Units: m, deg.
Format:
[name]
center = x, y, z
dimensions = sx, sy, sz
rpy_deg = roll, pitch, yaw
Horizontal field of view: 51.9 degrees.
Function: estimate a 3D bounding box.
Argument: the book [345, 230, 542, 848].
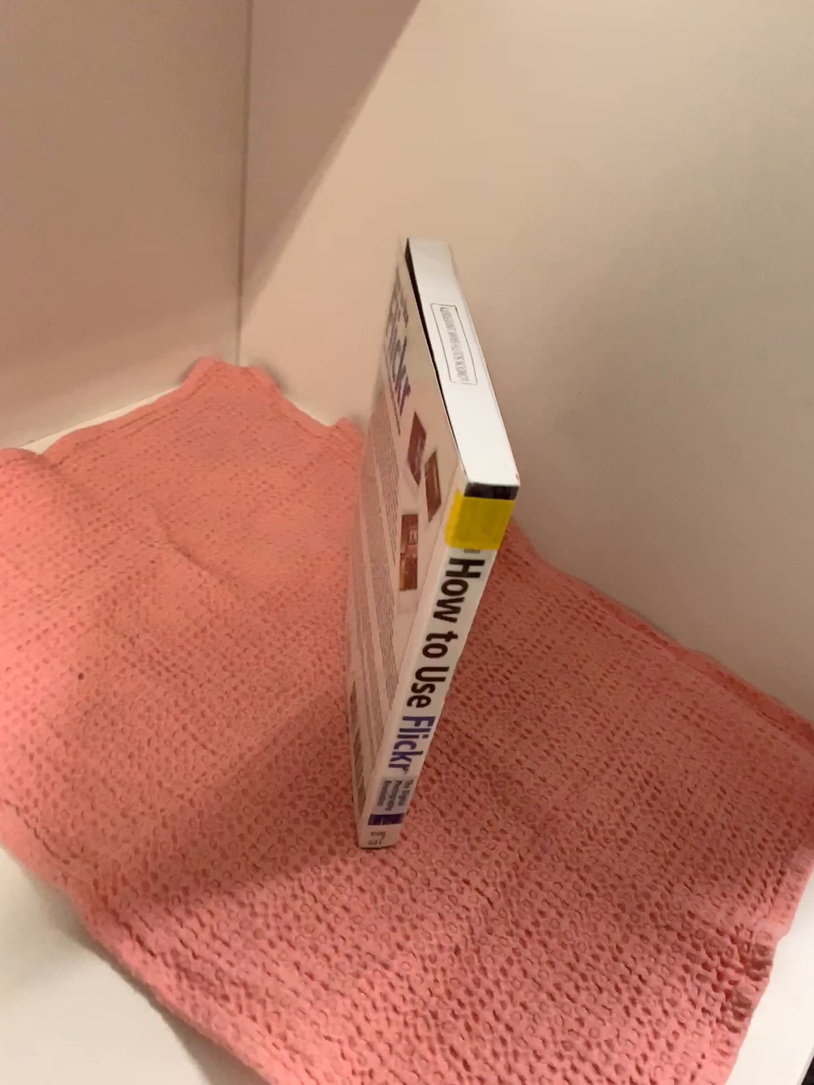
[book]
center = 0.001, 0.000, 0.404
dimensions = 0.025, 0.228, 0.193
rpy_deg = 4, 41, -11
